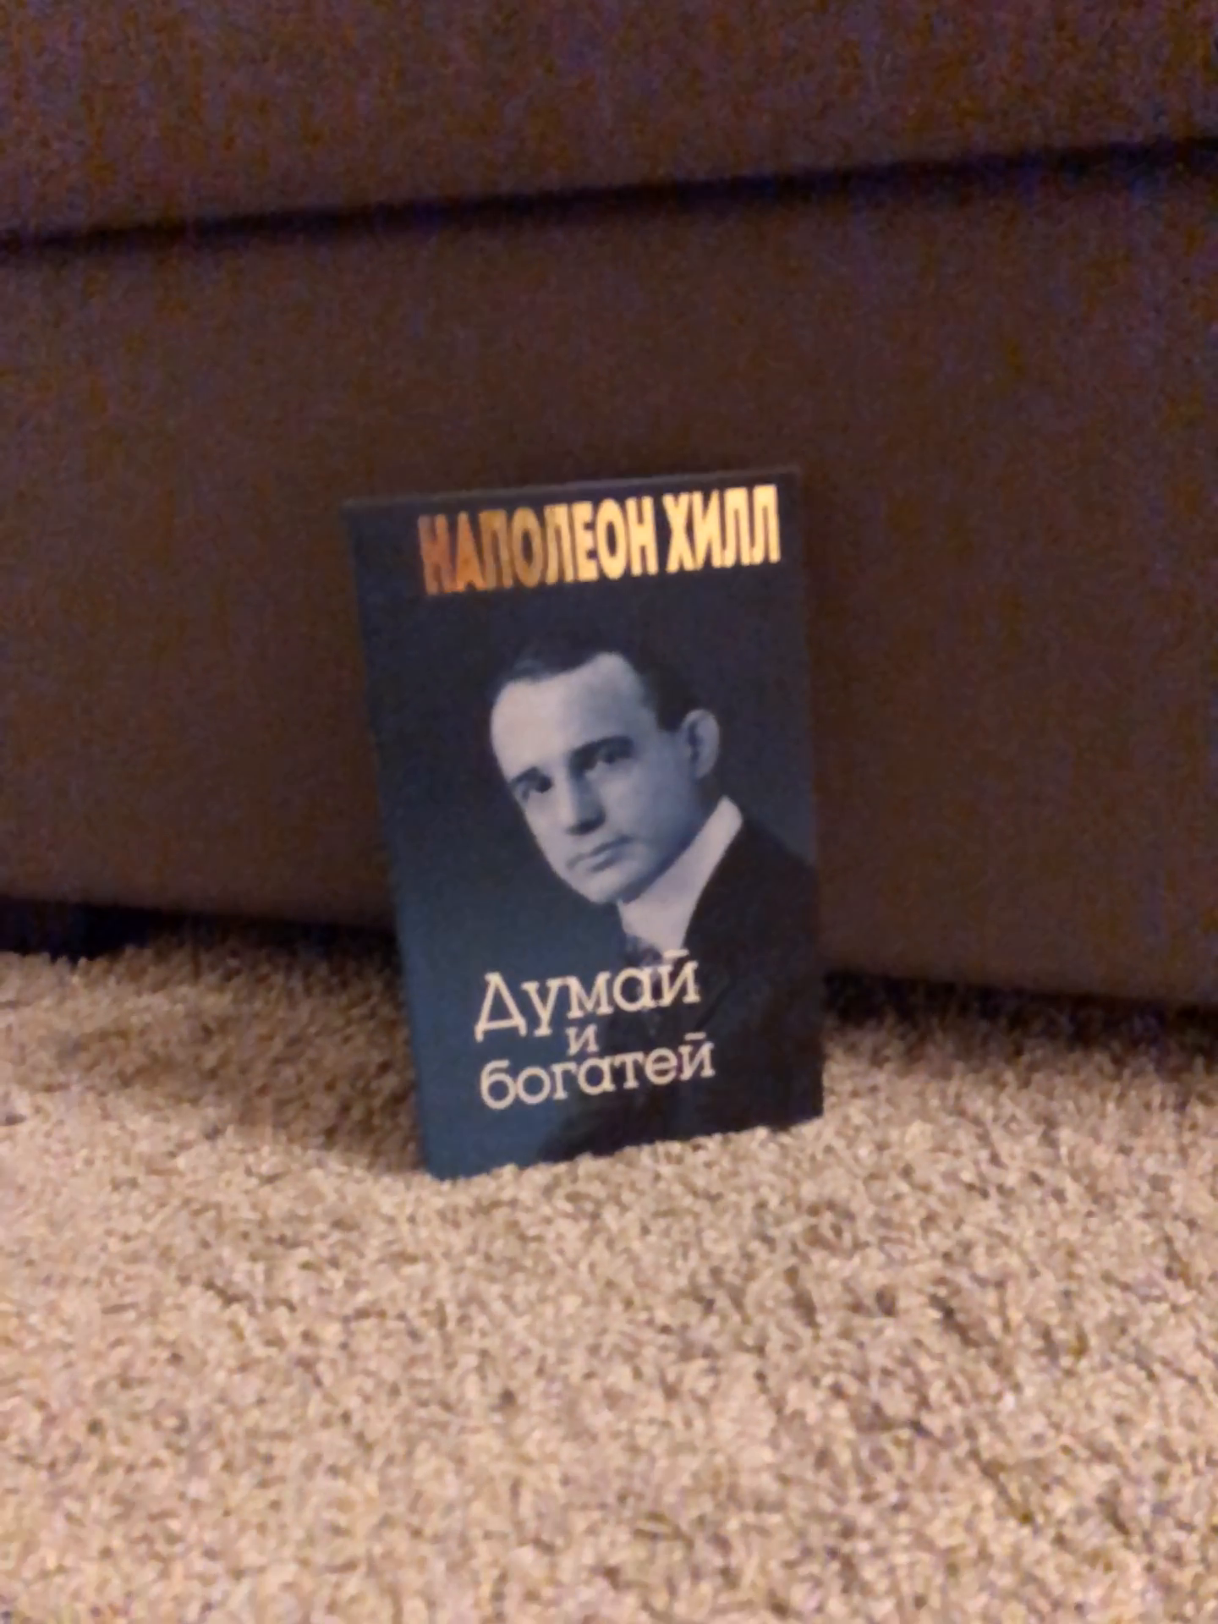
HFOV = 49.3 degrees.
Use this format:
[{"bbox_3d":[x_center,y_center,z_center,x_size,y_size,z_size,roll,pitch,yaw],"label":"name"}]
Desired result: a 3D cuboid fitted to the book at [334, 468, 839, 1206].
[{"bbox_3d":[-0.003,0.006,0.386,0.132,0.198,0.030,-6,12,-11],"label":"book"}]
